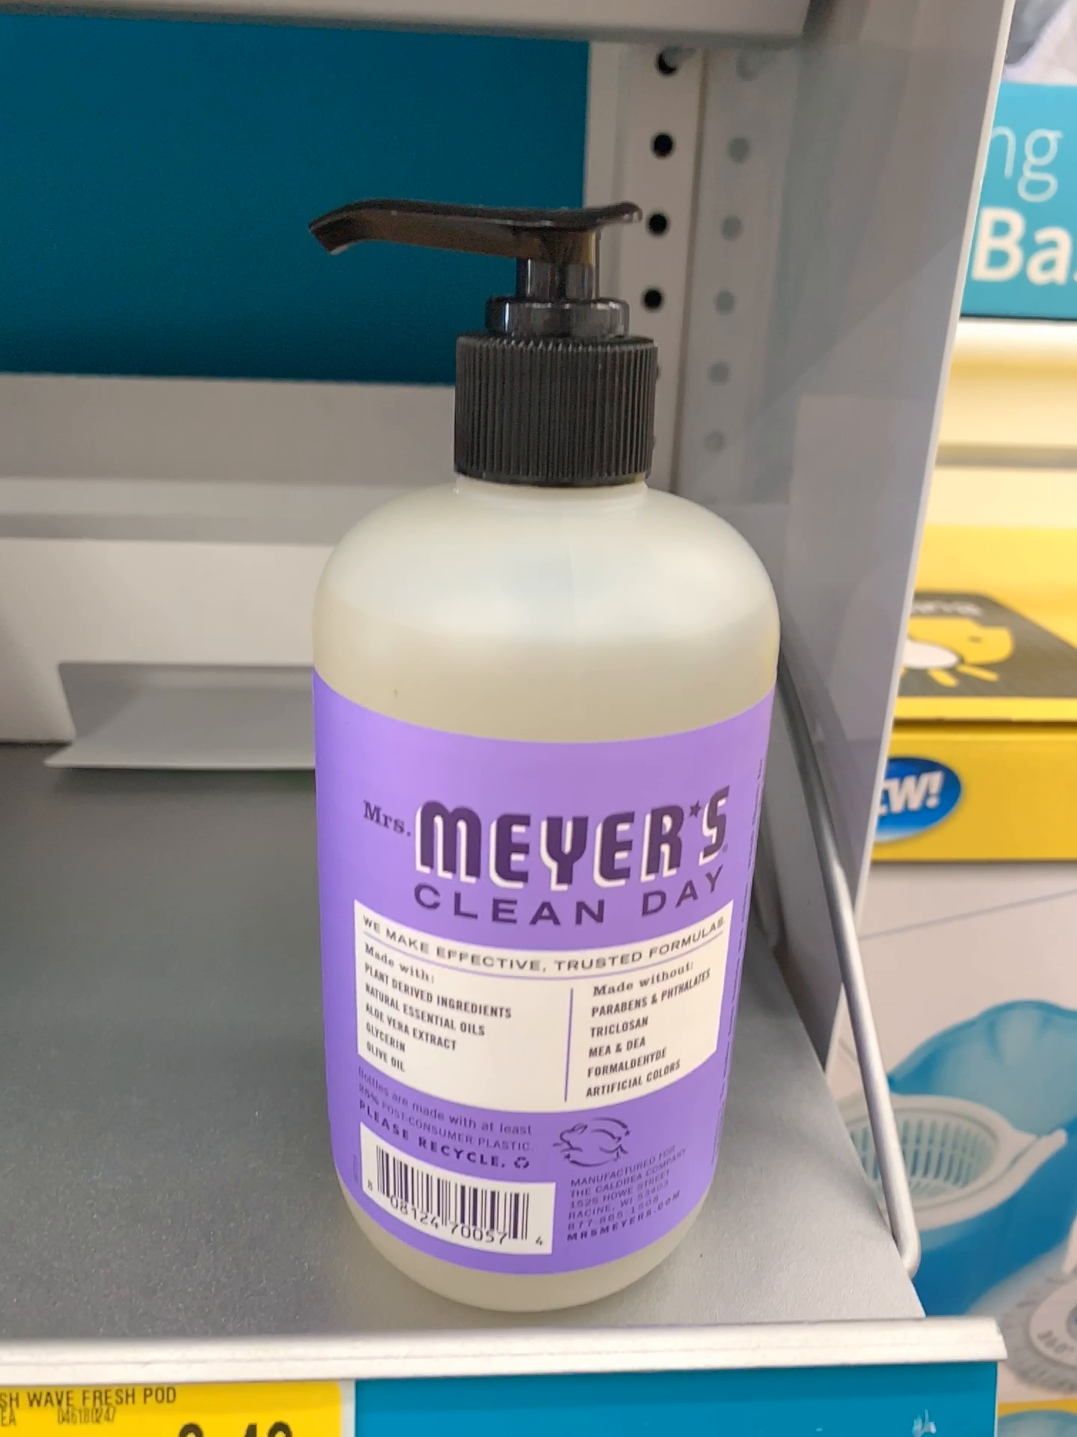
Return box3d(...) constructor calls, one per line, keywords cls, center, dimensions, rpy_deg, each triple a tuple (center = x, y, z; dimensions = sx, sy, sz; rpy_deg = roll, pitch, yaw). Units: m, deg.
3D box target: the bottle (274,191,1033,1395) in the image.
box3d(cls="bottle", center=(0.005, 0.010, 0.176), dimensions=(0.080, 0.159, 0.070), rpy_deg=(-3, 22, -11))
